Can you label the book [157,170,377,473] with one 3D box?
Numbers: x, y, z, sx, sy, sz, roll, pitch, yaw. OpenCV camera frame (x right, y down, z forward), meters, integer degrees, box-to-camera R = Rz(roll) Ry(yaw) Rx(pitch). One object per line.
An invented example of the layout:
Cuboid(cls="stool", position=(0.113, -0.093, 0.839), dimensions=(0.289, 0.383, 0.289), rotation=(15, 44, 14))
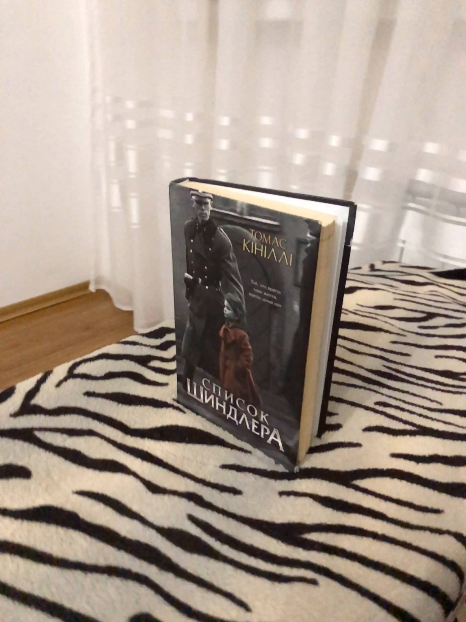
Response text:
Cuboid(cls="book", position=(0.017, 0.004, 0.397), dimensions=(0.144, 0.191, 0.057), rotation=(20, 33, 32))
